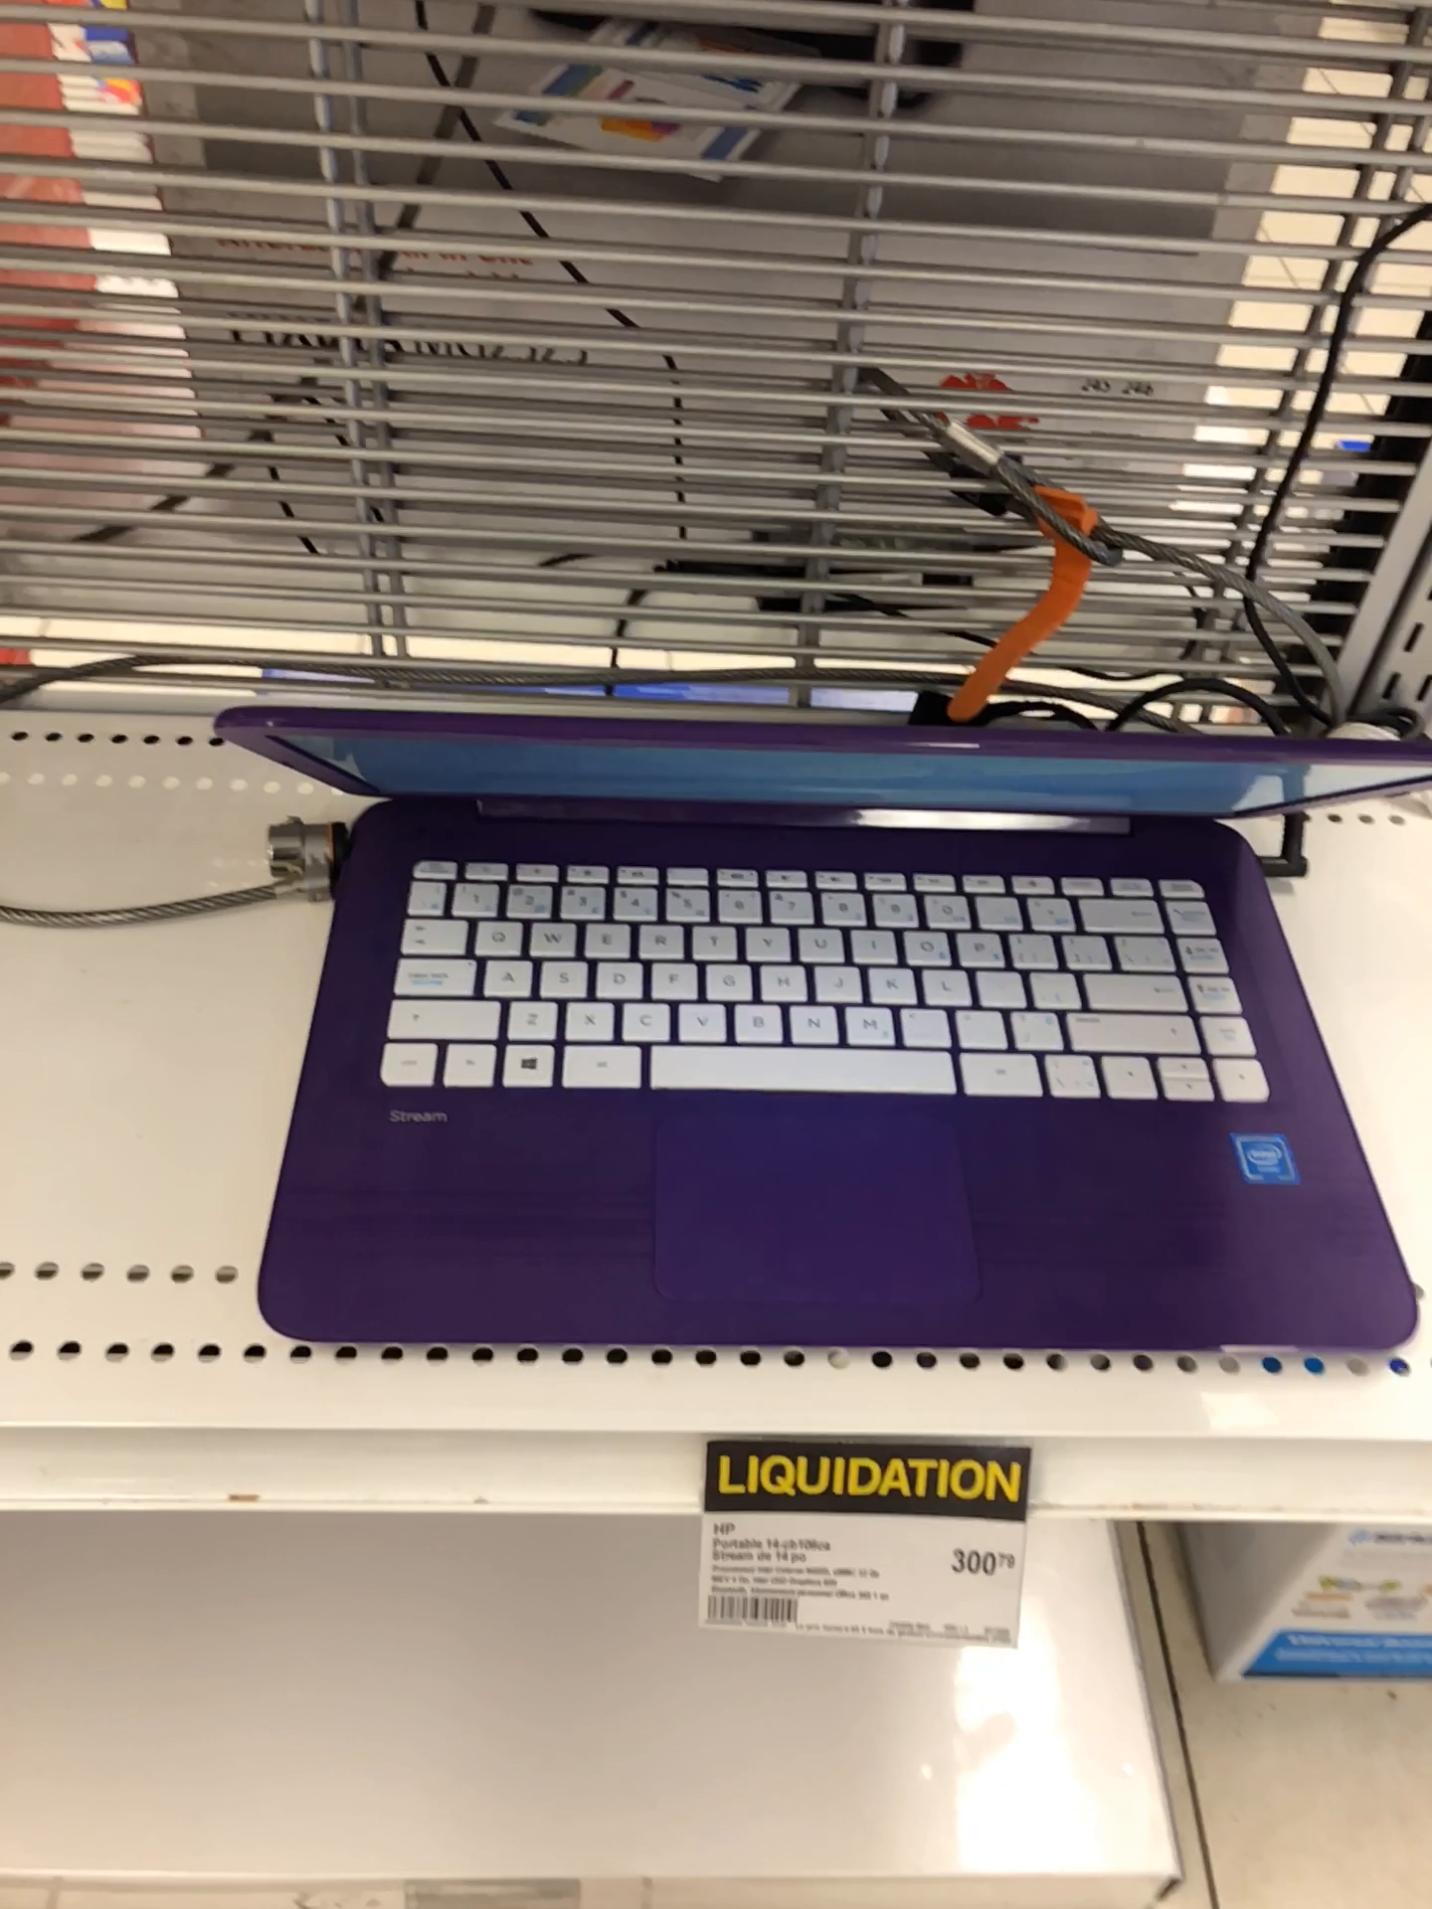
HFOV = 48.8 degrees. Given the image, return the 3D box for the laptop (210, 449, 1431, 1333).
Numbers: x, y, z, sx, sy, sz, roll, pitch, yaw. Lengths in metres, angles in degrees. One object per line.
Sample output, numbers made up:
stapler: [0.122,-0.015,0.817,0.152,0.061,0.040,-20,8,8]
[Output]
laptop: [0.041,-0.021,0.458,0.305,0.138,0.207,2,49,-3]
